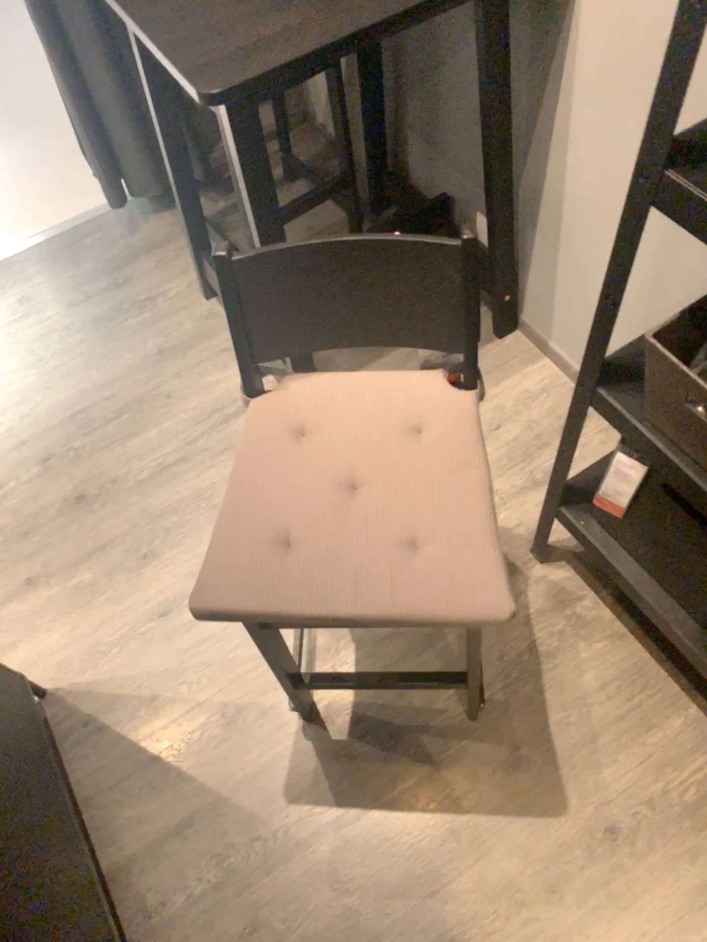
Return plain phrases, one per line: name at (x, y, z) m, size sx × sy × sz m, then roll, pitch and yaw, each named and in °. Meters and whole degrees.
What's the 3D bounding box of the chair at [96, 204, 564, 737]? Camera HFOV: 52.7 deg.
chair at (0.020, 0.101, 1.203) m, size 0.460 × 0.888 × 0.501 m, roll -2°, pitch 59°, yaw 6°
